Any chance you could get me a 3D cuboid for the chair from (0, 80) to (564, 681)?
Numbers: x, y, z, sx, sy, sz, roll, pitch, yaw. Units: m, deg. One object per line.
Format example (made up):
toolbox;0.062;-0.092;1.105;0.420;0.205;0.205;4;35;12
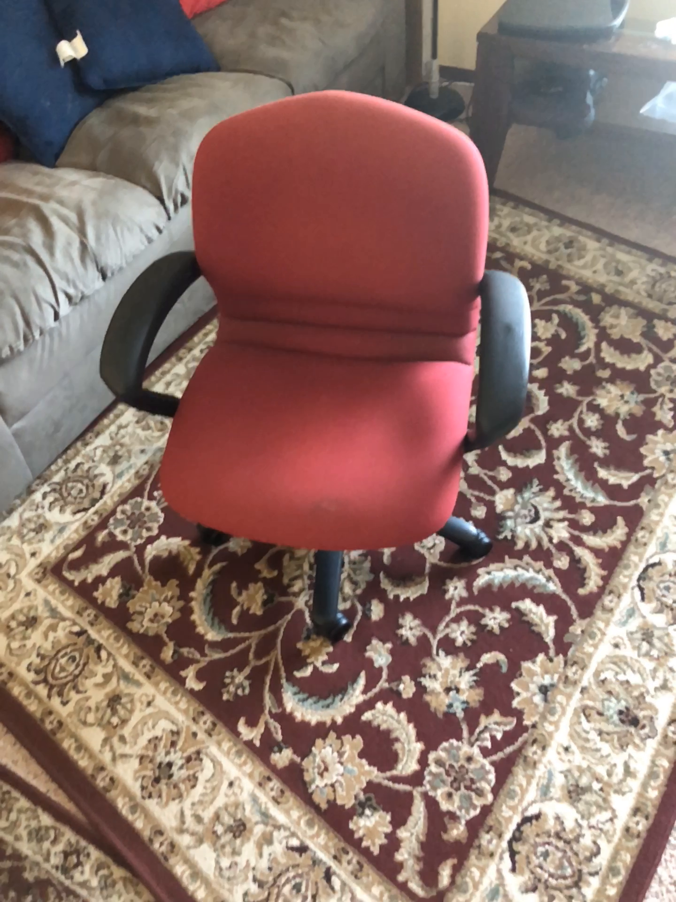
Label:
chair;-0.022;-0.106;1.275;0.650;0.729;0.621;8;53;11
